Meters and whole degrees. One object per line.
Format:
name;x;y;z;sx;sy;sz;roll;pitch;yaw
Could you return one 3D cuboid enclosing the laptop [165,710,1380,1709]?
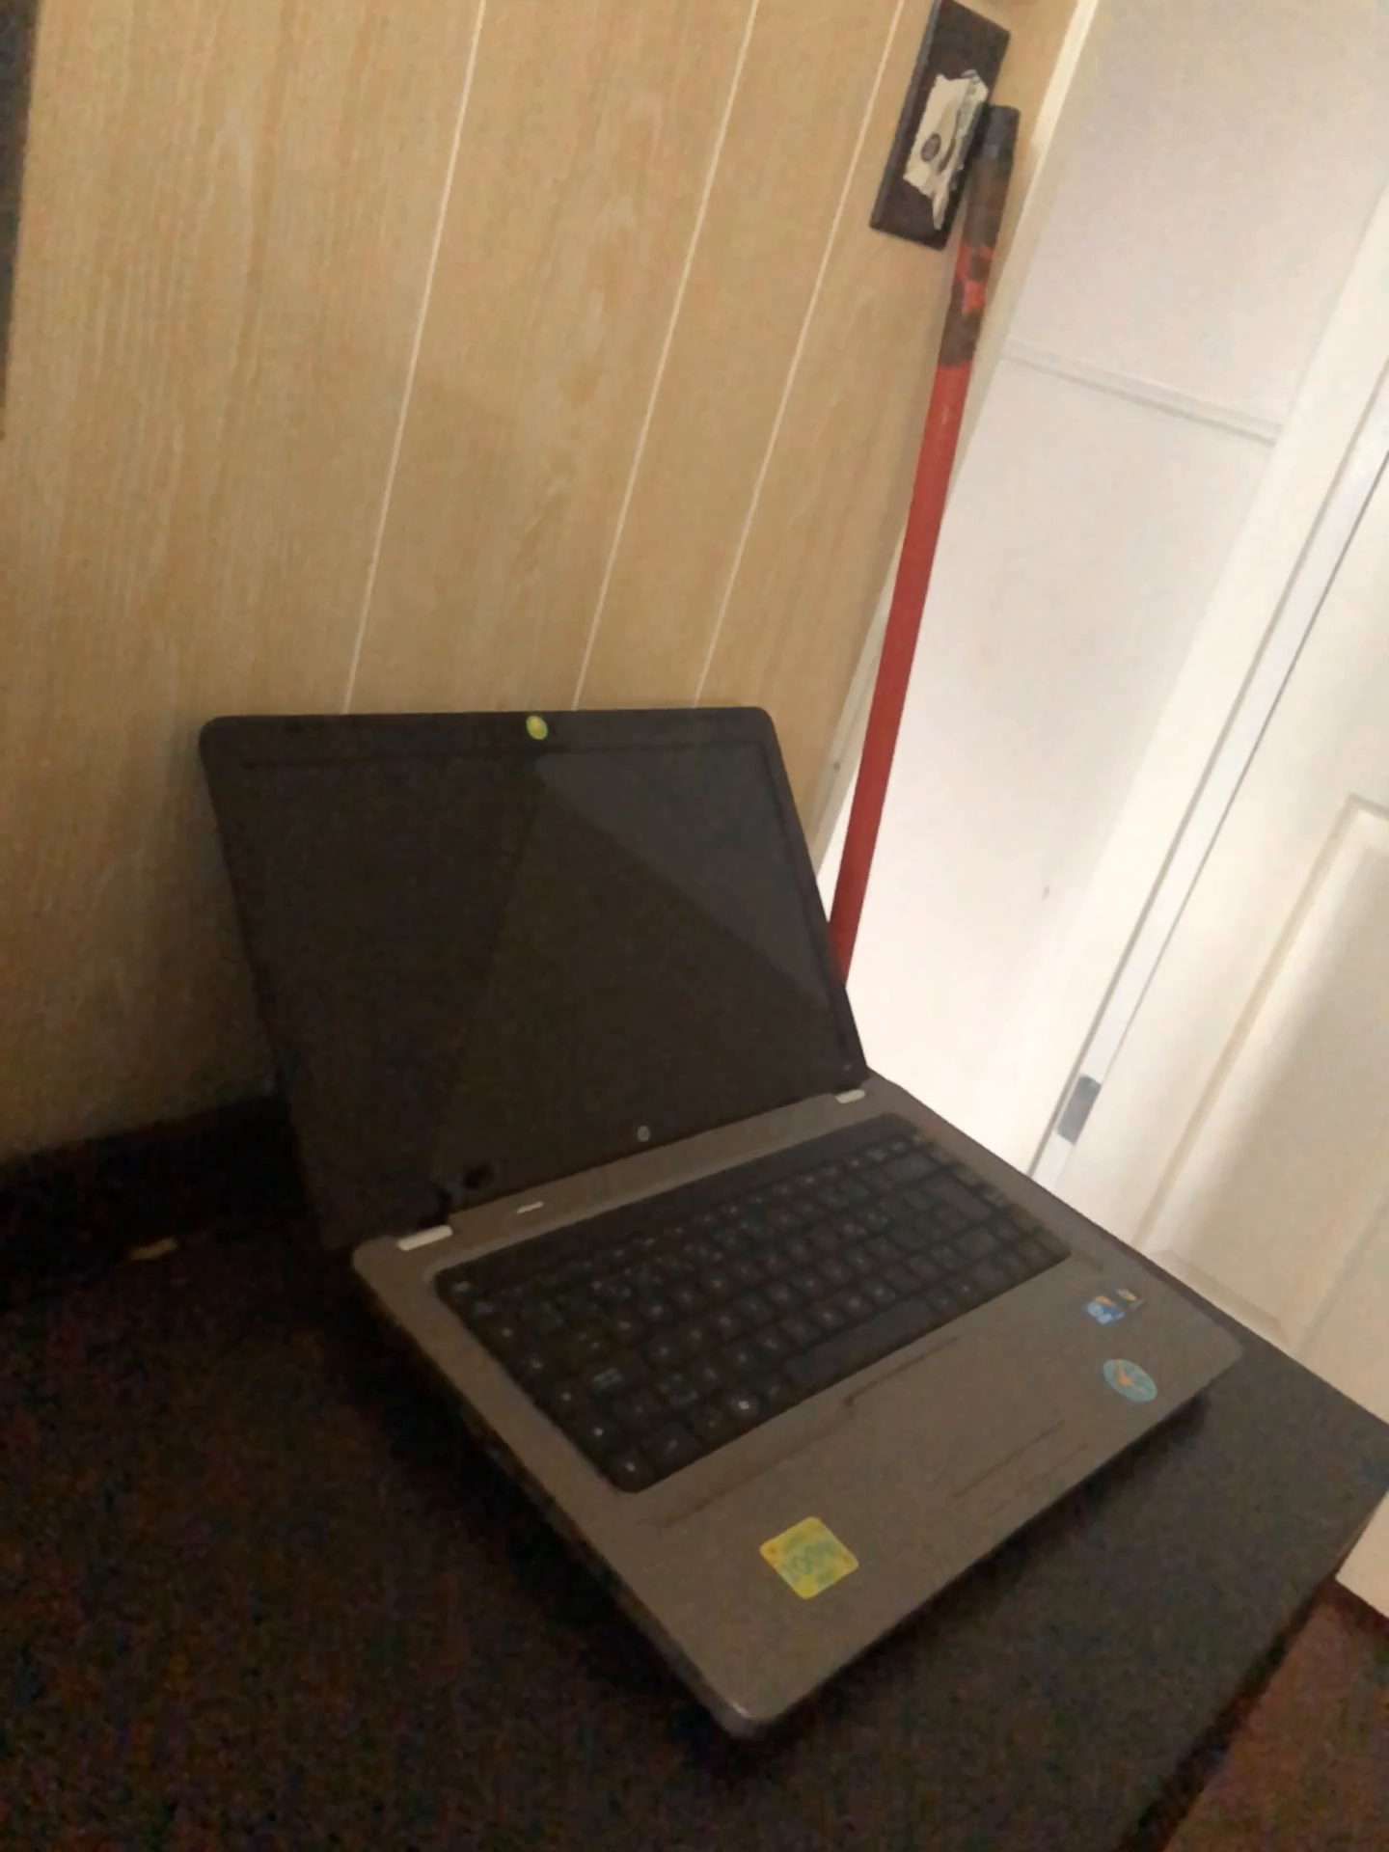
laptop;0.029;0.060;0.710;0.364;0.154;0.419;-9;36;-46
